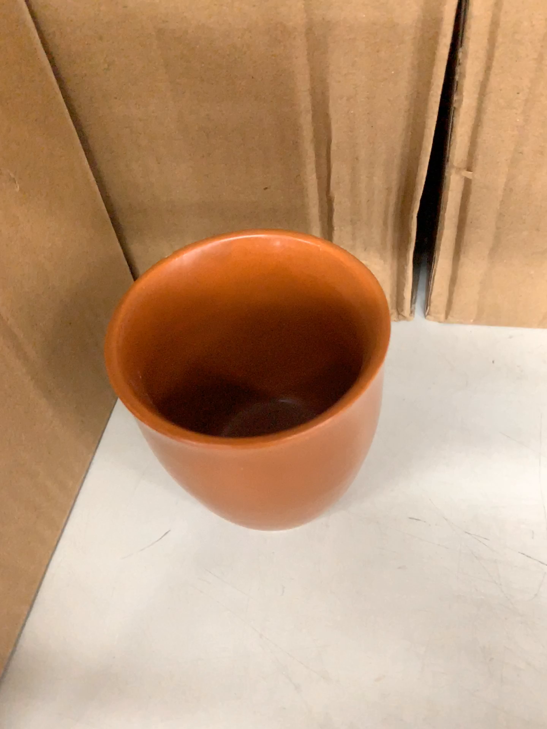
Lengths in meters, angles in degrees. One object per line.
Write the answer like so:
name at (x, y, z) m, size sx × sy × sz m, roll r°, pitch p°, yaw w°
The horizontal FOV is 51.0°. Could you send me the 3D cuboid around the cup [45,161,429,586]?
cup at (-0.009, 0.005, 0.167) m, size 0.070 × 0.079 × 0.070 m, roll -4°, pitch 54°, yaw 5°
